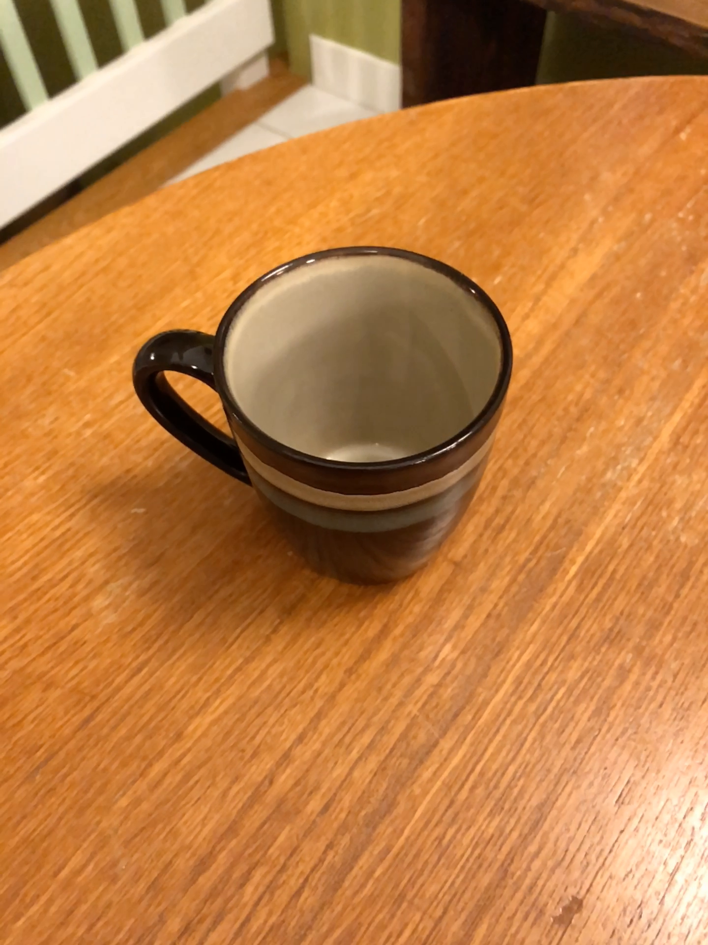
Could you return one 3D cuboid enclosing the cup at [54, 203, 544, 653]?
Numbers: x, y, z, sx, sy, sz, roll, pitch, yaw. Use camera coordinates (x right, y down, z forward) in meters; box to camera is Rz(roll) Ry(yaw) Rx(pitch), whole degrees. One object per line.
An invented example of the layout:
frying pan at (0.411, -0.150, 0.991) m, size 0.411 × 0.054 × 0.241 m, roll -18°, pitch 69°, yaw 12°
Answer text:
cup at (-0.011, -0.016, 0.283) m, size 0.125 × 0.094 × 0.099 m, roll 15°, pitch 58°, yaw 12°
